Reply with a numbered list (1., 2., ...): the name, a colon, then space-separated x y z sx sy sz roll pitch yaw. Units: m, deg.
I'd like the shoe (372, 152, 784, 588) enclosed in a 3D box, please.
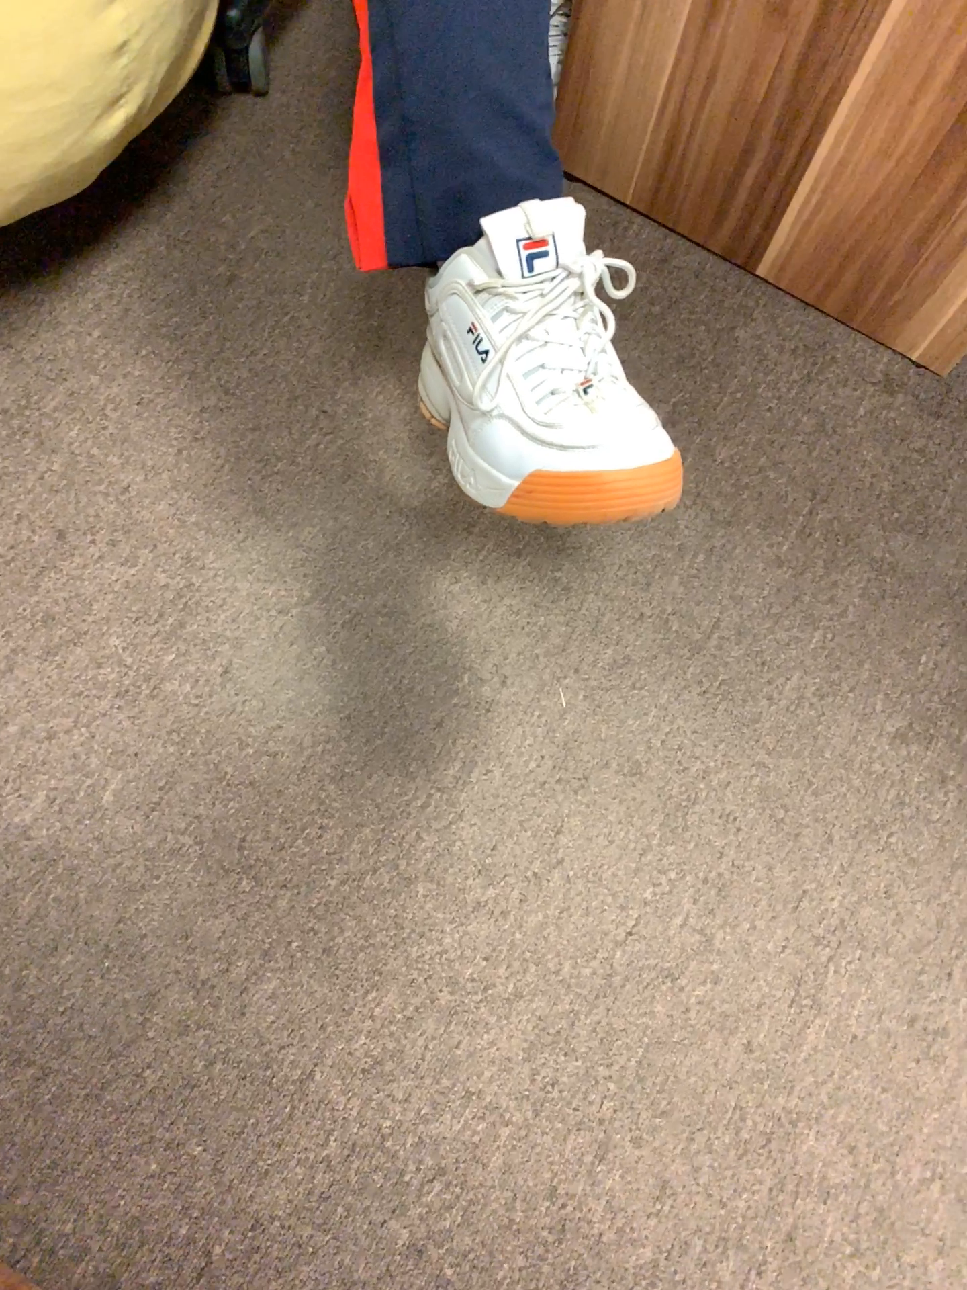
1. shoe: 0.033 -0.167 0.560 0.130 0.130 0.230 -12 48 -18
